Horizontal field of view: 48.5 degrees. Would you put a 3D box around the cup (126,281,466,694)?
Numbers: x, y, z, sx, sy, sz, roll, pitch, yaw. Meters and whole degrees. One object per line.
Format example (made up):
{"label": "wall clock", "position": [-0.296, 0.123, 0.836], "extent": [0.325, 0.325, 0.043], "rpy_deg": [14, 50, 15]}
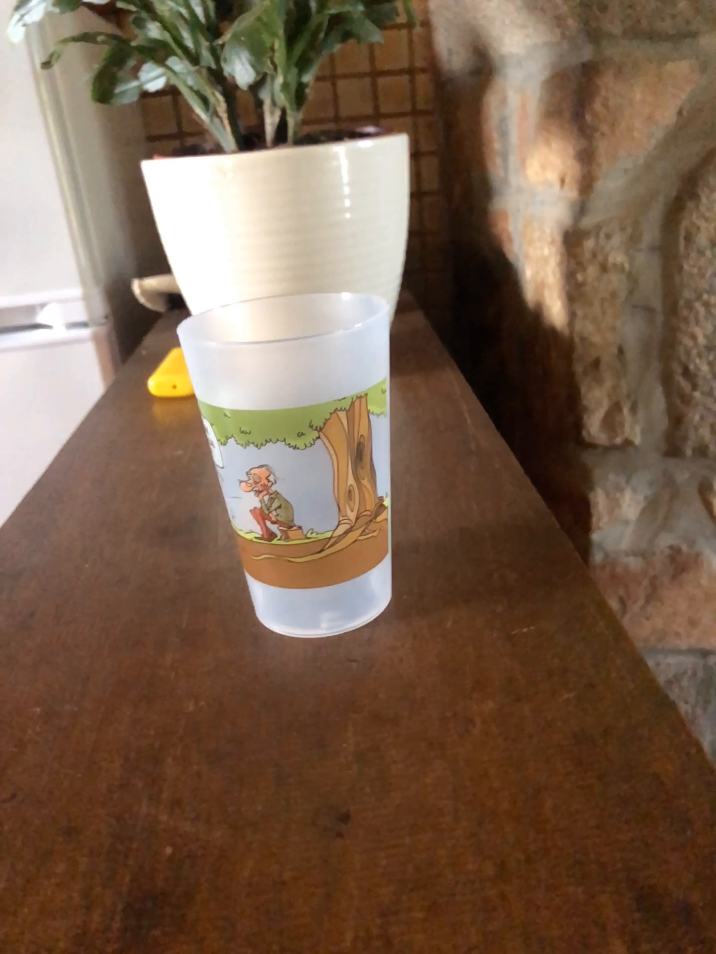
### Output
{"label": "cup", "position": [-0.018, -0.004, 0.298], "extent": [0.080, 0.119, 0.080], "rpy_deg": [-5, 23, 2]}

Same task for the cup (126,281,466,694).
{"label": "cup", "position": [-0.018, -0.004, 0.298], "extent": [0.080, 0.119, 0.080], "rpy_deg": [-5, 23, 2]}
